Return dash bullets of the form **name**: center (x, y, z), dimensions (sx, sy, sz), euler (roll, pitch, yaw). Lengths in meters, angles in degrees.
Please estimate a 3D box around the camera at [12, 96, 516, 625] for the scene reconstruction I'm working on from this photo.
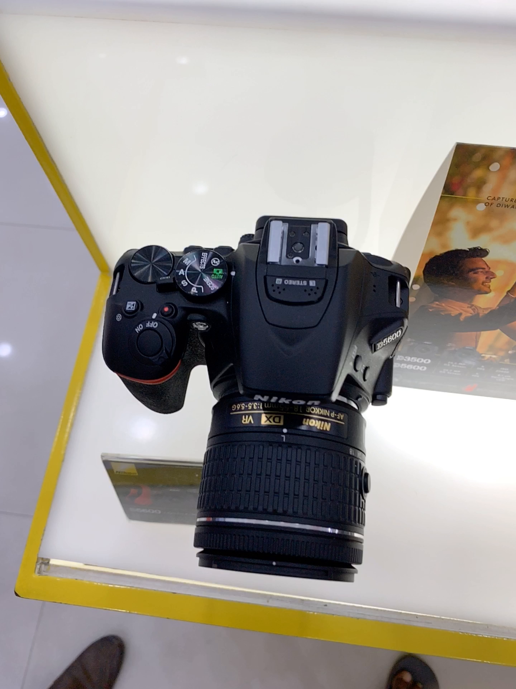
- **camera**: center (0.008, 0.005, 0.198), dimensions (0.120, 0.090, 0.160), euler (3, 66, 4)
